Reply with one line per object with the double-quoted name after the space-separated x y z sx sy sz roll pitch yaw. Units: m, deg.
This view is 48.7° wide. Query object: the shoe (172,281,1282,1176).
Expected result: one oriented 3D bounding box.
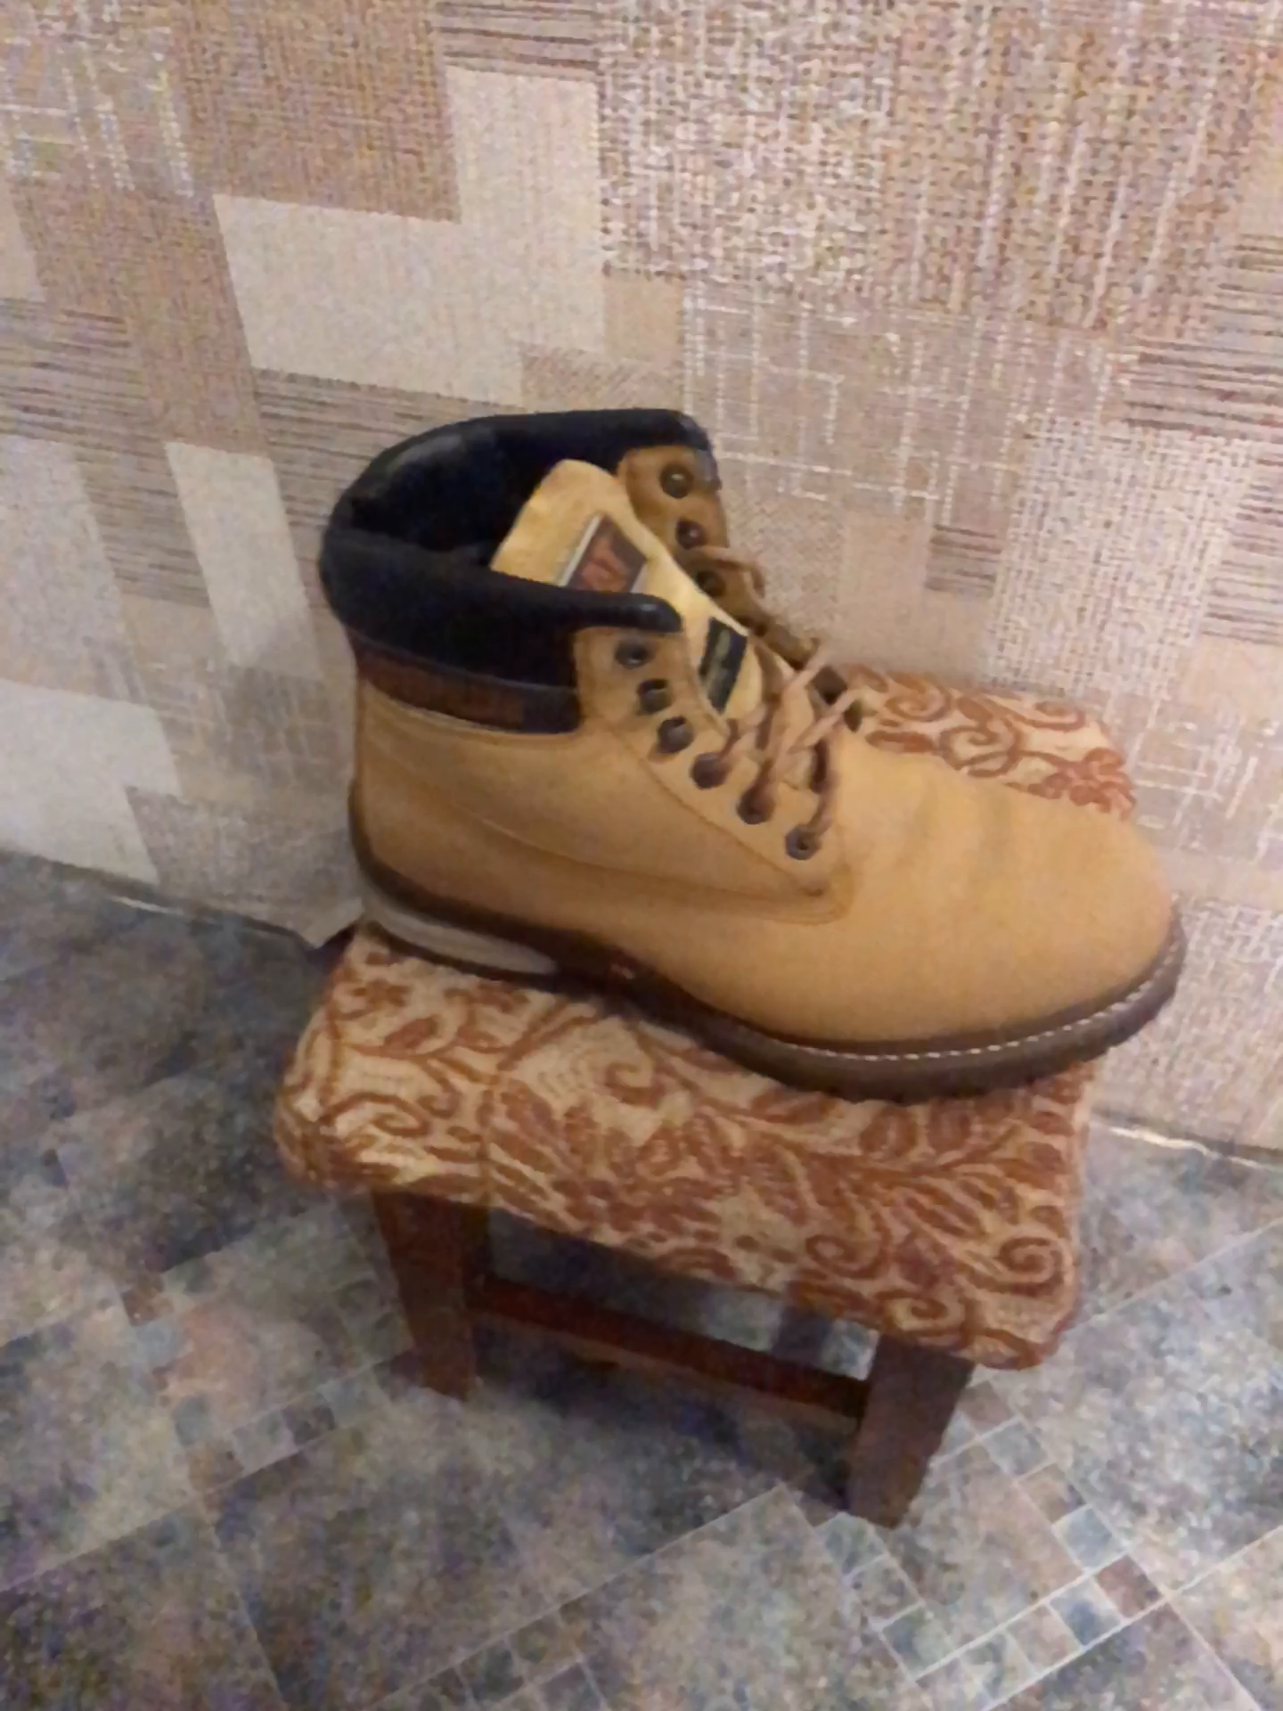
0.046 -0.041 0.456 0.310 0.189 0.141 12 49 10 "shoe"
